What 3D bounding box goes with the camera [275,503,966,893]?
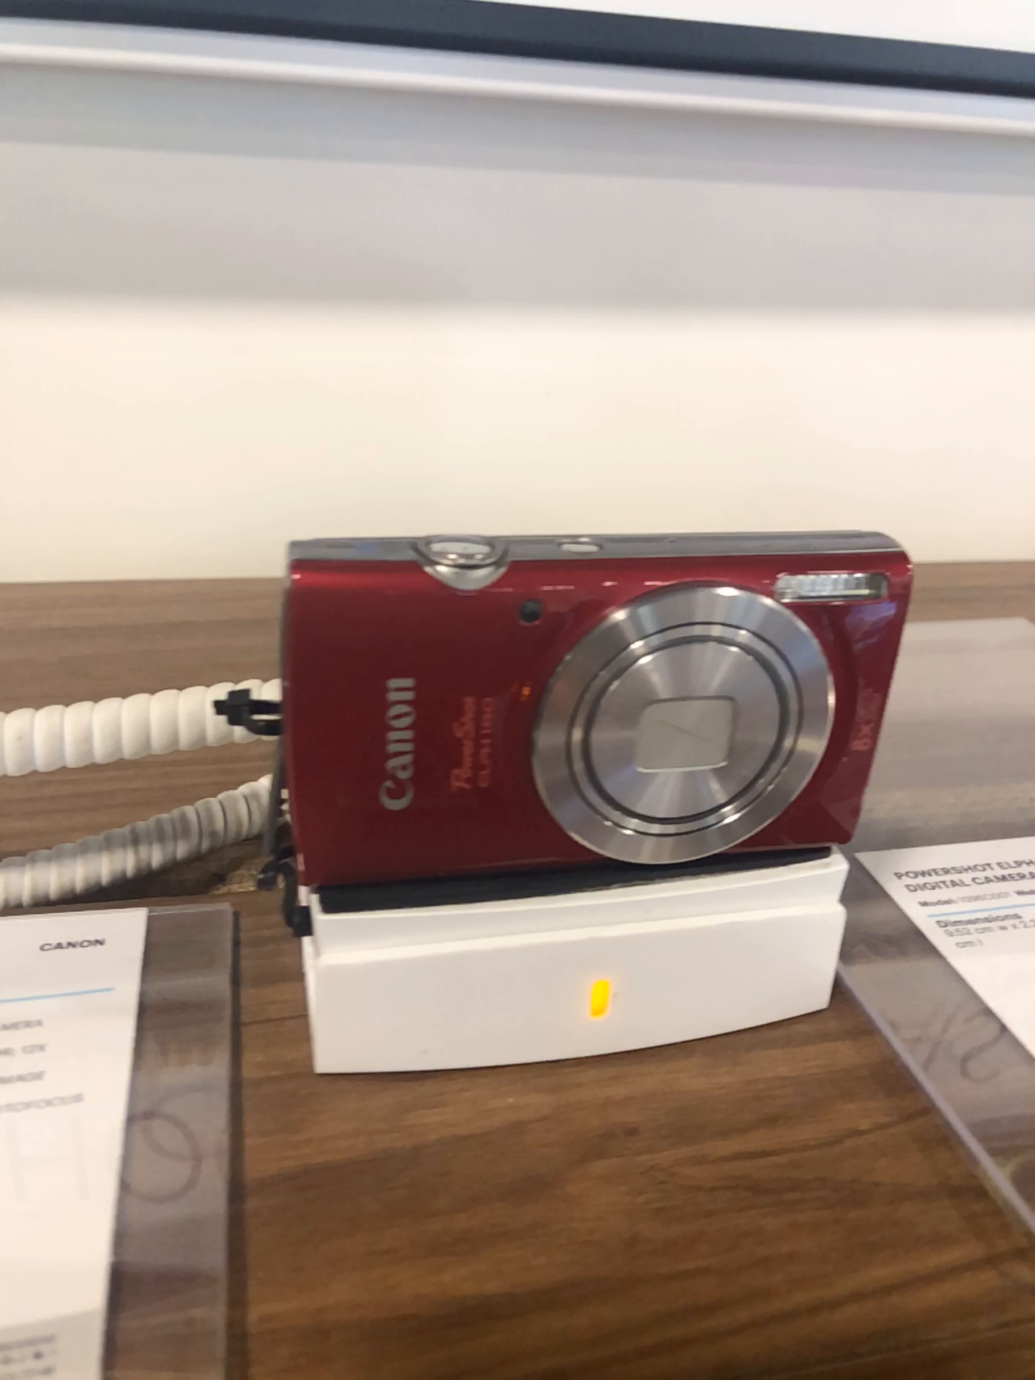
[{"bbox_3d":[0.013,0.000,0.178,0.097,0.051,0.023,-2,30,-13],"label":"camera"}]
